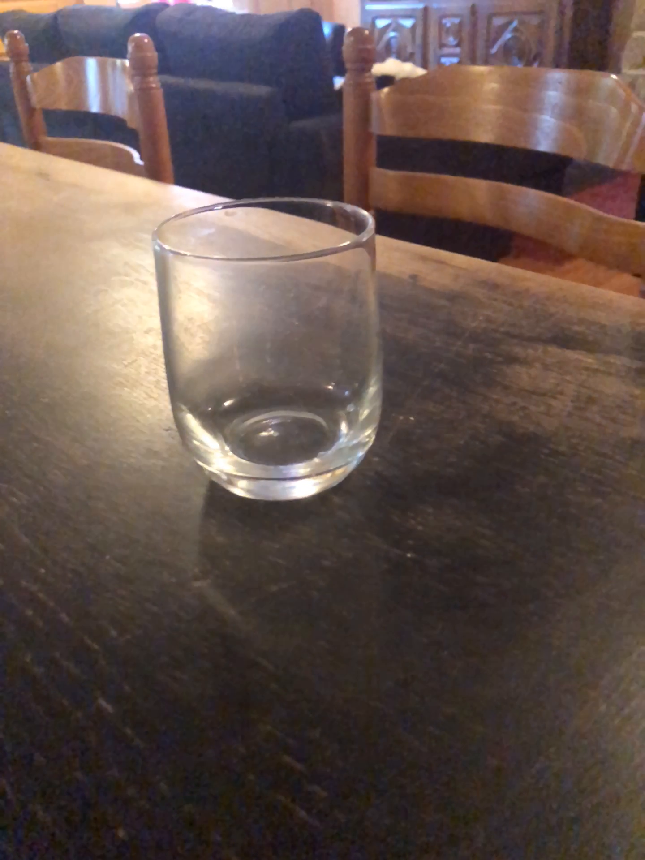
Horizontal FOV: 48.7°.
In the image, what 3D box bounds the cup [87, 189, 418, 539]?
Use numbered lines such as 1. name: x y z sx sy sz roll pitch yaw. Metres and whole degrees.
1. cup: -0.020 -0.028 0.247 0.077 0.084 0.071 -2 31 1
